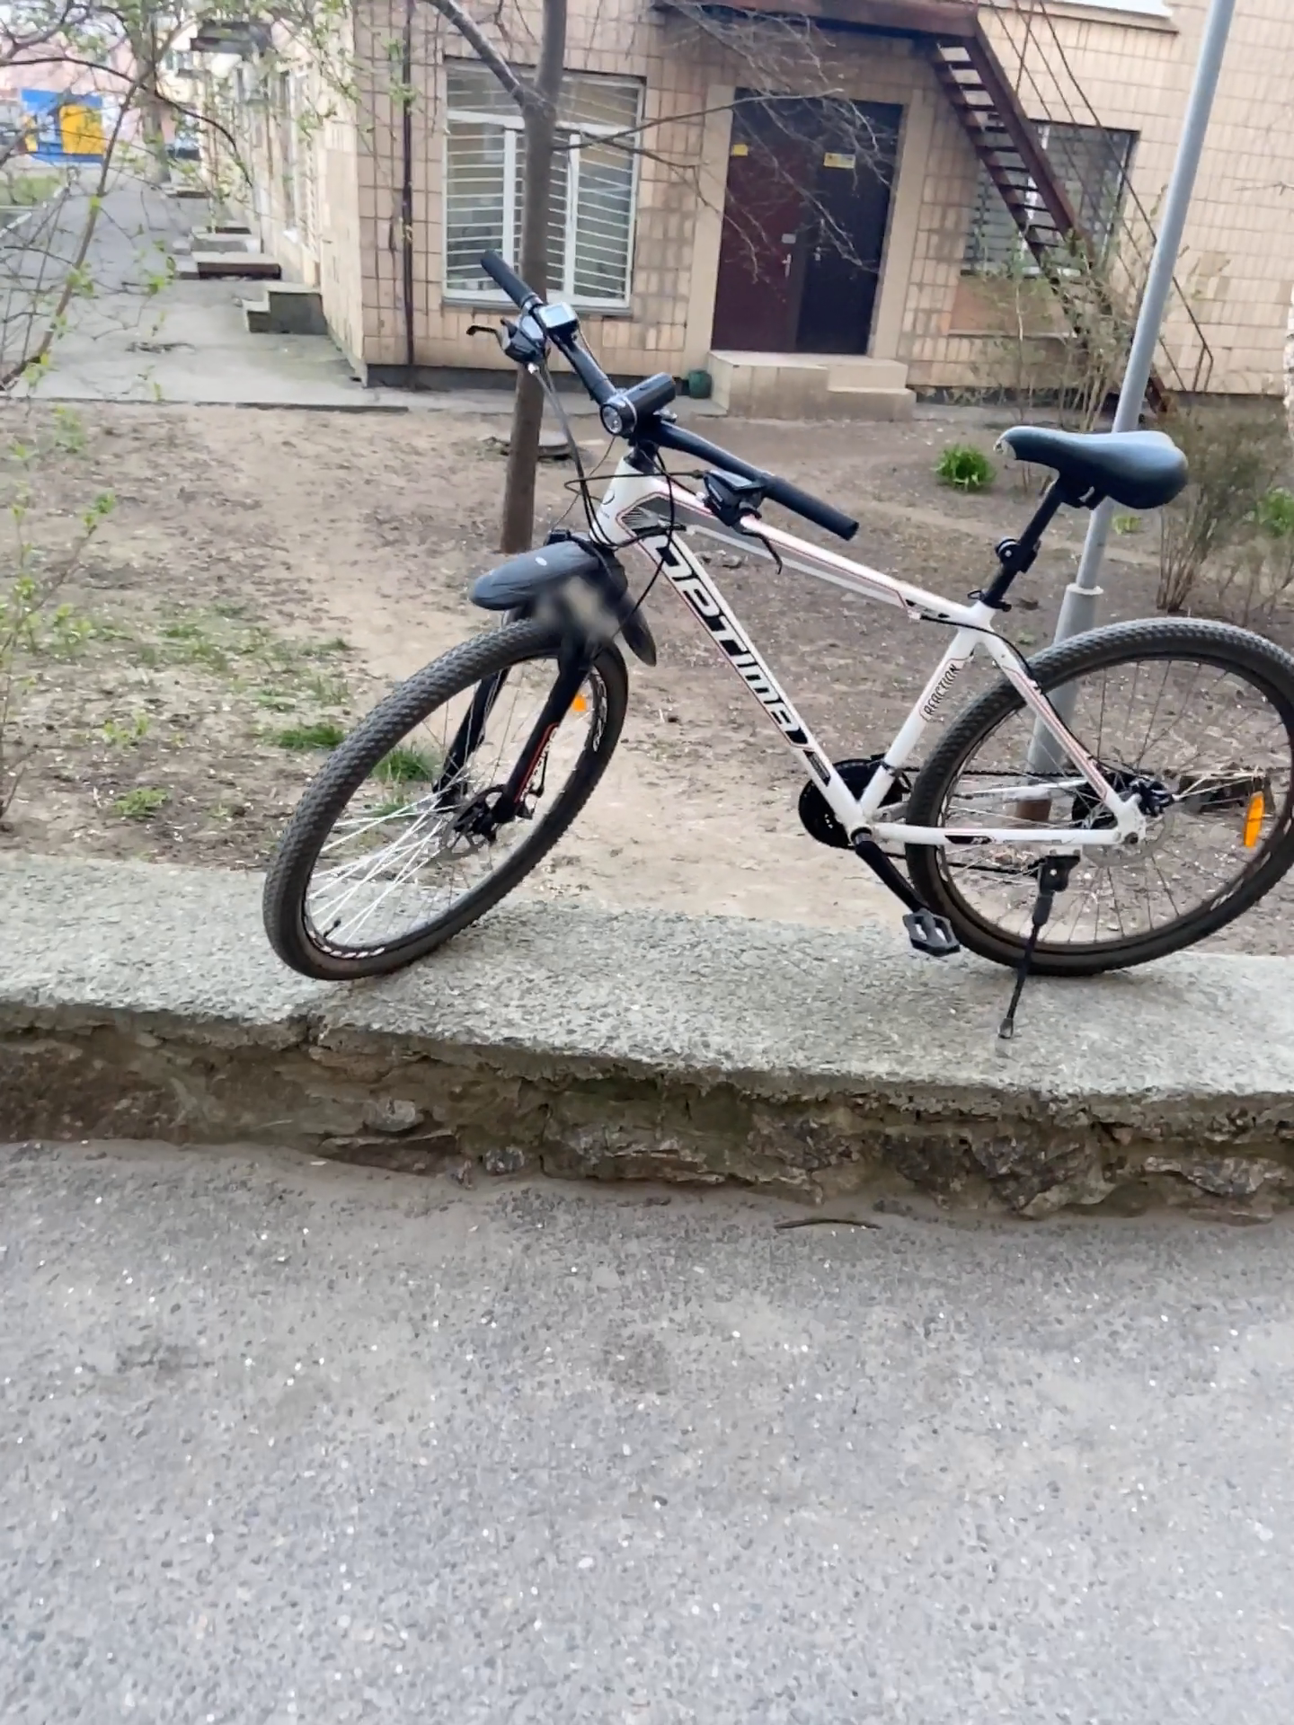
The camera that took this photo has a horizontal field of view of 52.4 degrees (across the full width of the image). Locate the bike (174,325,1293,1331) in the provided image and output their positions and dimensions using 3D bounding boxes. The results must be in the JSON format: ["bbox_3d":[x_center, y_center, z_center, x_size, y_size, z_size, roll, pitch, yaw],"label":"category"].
[{"bbox_3d":[0.330,-0.138,1.939,1.752,1.144,0.681,-4,29,-13],"label":"bike"}]
